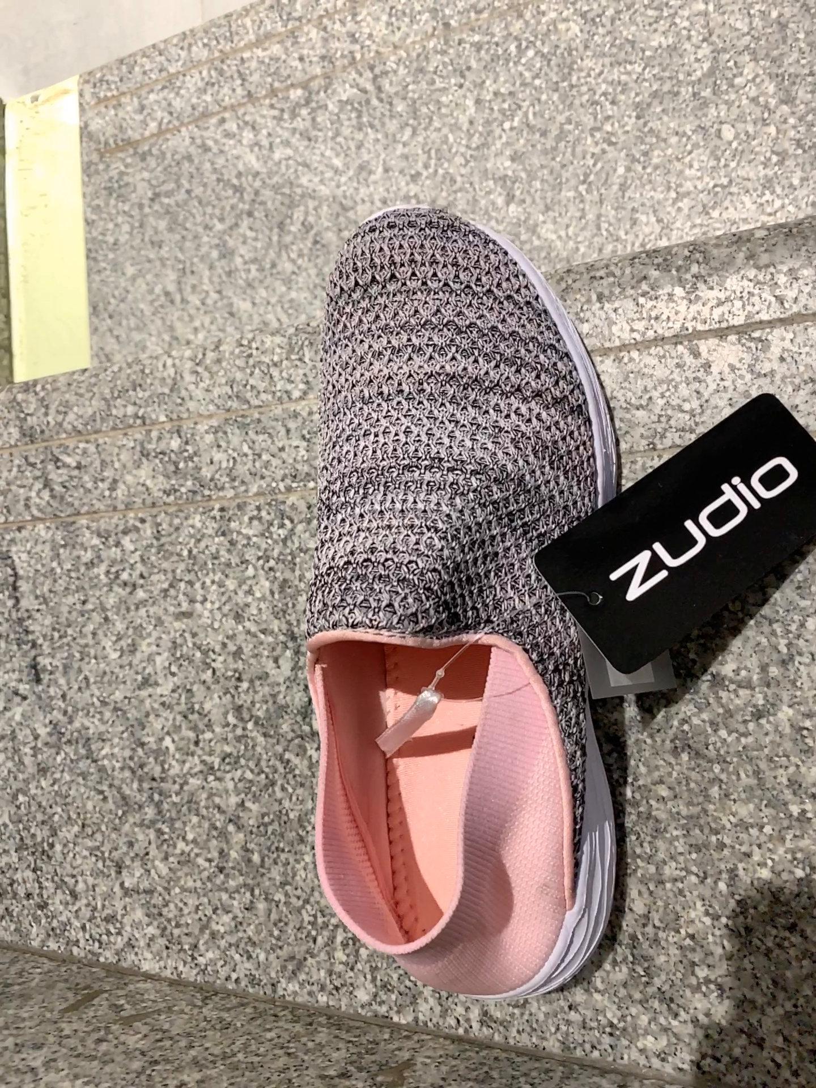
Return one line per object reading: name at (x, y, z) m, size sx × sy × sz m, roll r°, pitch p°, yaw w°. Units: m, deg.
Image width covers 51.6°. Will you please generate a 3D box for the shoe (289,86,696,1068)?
shoe at (0.030, 0.009, 0.270) m, size 0.090 × 0.080 × 0.250 m, roll -5°, pitch 87°, yaw 25°
